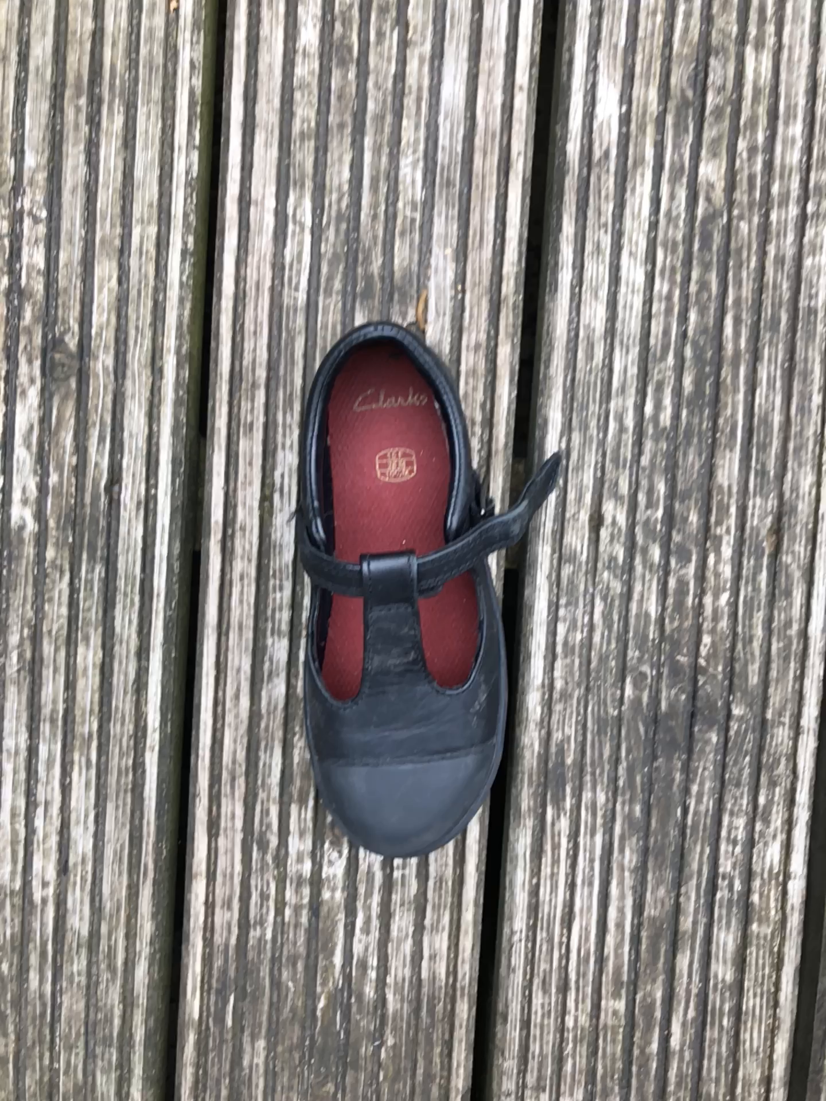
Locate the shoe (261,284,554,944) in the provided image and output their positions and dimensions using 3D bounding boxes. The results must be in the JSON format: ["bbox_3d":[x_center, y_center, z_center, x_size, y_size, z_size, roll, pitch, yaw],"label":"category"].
[{"bbox_3d":[-0.002,0.018,0.309,0.080,0.080,0.193,2,94,0],"label":"shoe"}]
